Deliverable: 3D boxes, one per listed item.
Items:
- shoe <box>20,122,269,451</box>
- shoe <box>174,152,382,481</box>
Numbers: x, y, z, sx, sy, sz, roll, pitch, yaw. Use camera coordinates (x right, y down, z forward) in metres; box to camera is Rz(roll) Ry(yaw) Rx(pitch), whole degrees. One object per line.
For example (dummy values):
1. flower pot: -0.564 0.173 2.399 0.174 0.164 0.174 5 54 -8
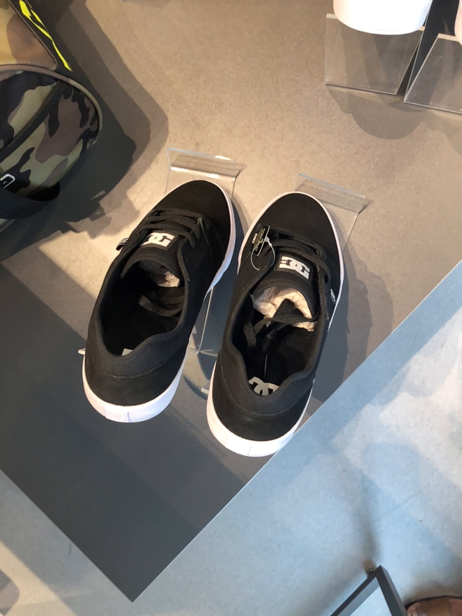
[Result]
1. shoe: -0.052 -0.025 0.413 0.106 0.107 0.229 14 56 4
2. shoe: 0.042 0.000 0.420 0.106 0.107 0.229 16 57 3
